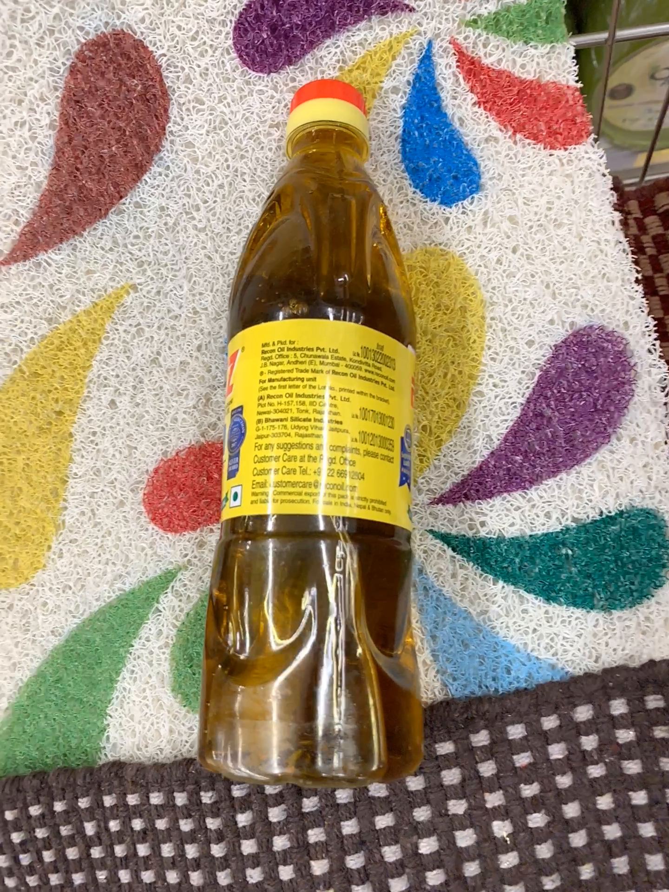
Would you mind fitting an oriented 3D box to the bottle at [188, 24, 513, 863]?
[{"bbox_3d":[0.008,-0.006,0.194,0.070,0.060,0.200,2,81,1],"label":"bottle"}]
